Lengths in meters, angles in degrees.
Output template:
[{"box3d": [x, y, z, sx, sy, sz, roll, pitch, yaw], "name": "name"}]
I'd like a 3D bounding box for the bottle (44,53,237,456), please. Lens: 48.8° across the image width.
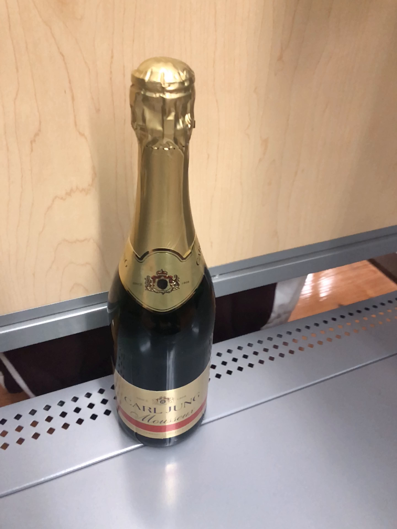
[{"box3d": [-0.031, 0.016, 0.328, 0.090, 0.298, 0.091, 2, 36, -2], "name": "bottle"}]
